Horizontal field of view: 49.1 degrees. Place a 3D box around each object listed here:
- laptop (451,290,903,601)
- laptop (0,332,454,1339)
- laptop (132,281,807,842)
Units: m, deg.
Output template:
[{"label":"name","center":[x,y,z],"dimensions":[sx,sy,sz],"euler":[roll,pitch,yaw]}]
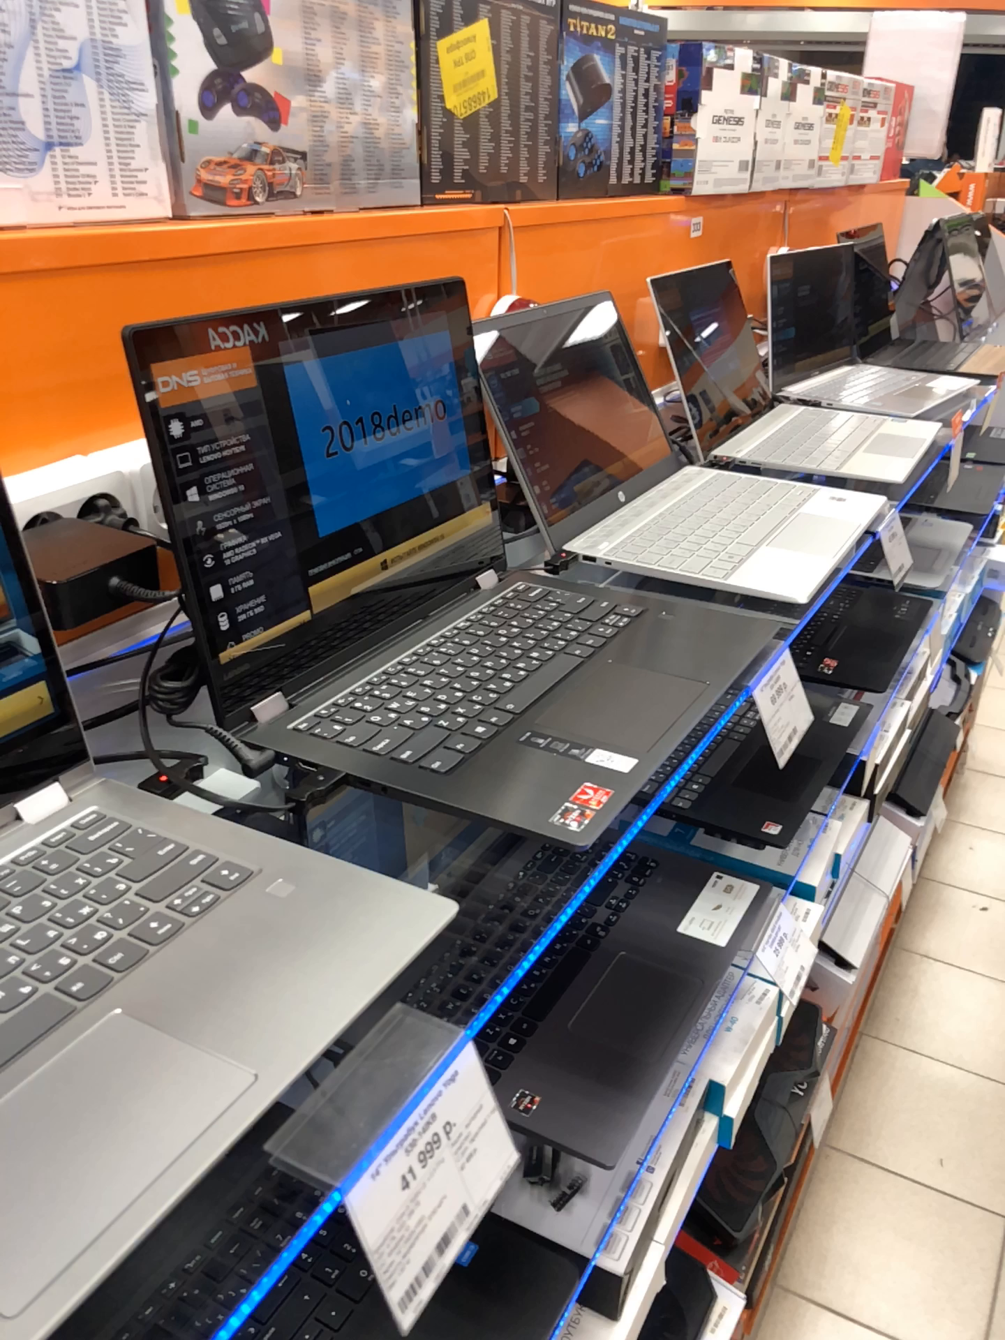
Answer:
[{"label":"laptop","center":[0.163,-0.225,0.991],"dimensions":[0.310,0.161,0.317],"euler":[15,29,24]},{"label":"laptop","center":[-0.209,0.021,0.357],"dimensions":[0.285,0.202,0.285],"euler":[14,24,20]},{"label":"laptop","center":[0.003,-0.101,0.661],"dimensions":[0.255,0.215,0.321],"euler":[14,27,25]}]
